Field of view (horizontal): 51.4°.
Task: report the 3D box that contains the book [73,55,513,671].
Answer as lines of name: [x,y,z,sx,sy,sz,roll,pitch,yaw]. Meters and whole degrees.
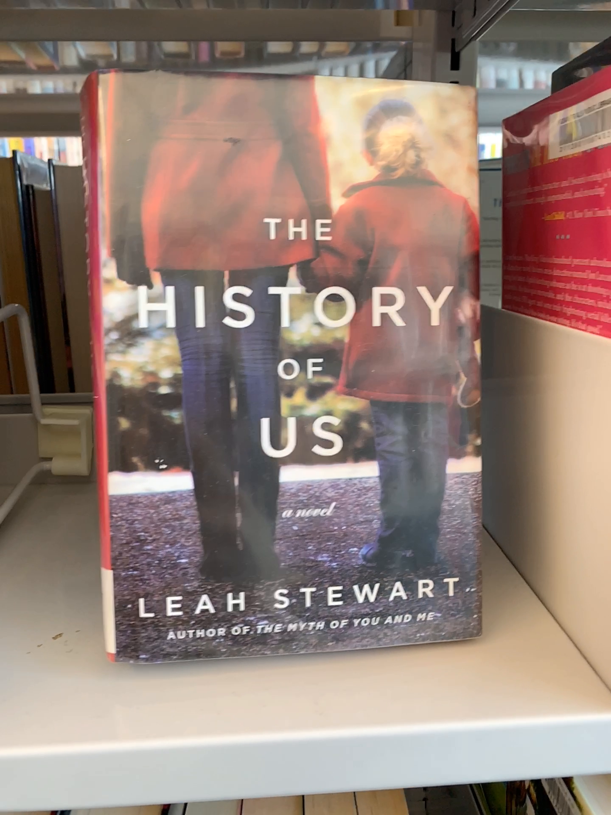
book: [-0.002,-0.017,0.253,0.152,0.220,0.040,-3,4,-4]
